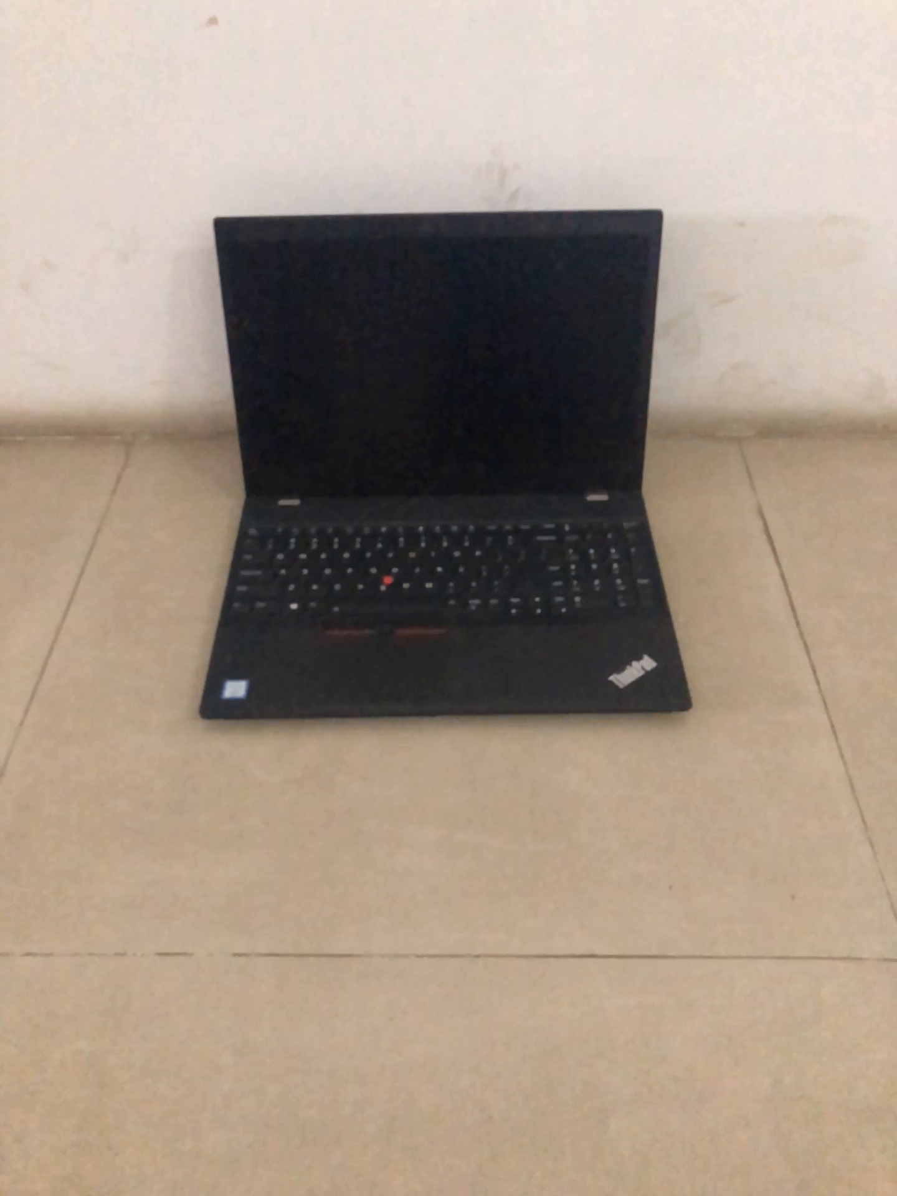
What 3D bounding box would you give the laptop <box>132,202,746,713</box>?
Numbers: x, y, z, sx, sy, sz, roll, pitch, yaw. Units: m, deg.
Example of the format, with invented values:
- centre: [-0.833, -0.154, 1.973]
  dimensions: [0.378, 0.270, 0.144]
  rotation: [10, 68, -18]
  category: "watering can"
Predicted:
- centre: [-0.006, -0.116, 0.754]
  dimensions: [0.351, 0.214, 0.329]
  rotation: [-1, 46, 0]
  category: "laptop"
